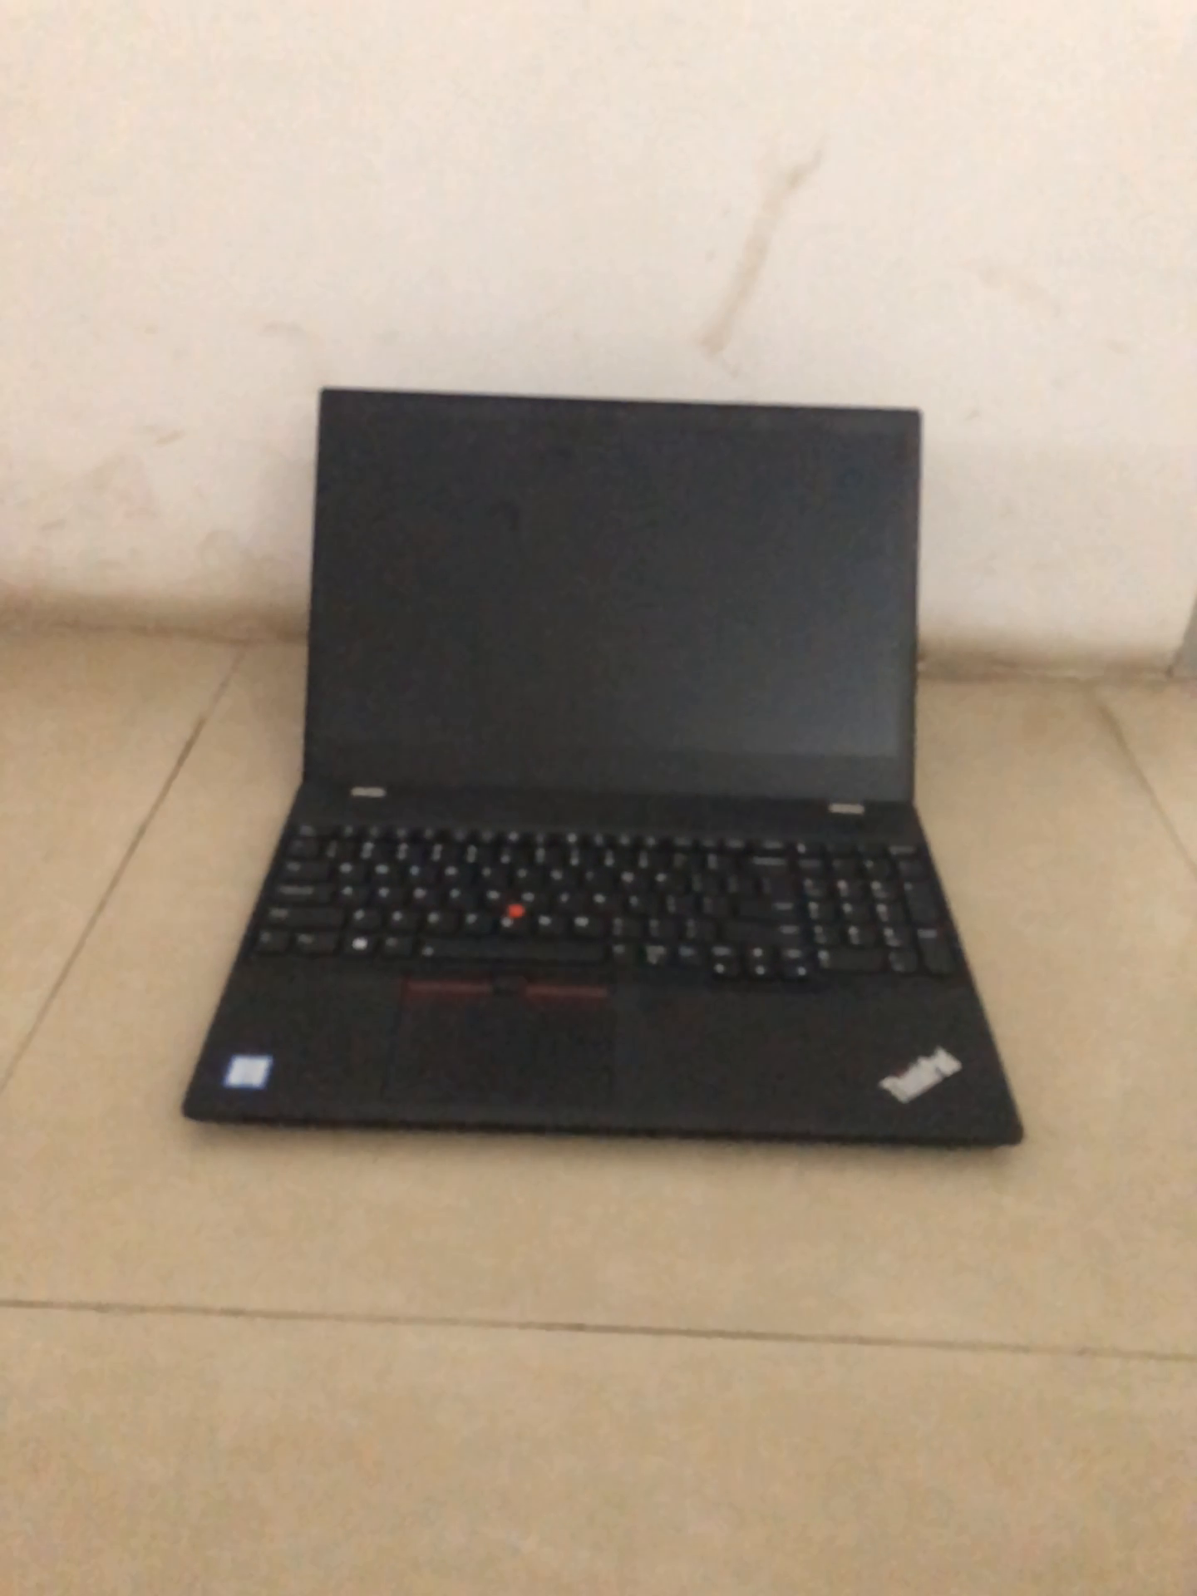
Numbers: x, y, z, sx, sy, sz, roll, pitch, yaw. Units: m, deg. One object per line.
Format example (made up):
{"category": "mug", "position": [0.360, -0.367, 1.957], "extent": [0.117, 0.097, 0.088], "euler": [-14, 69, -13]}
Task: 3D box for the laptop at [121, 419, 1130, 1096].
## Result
{"category": "laptop", "position": [0.003, -0.047, 0.655], "extent": [0.344, 0.192, 0.364], "euler": [2, 29, -3]}
